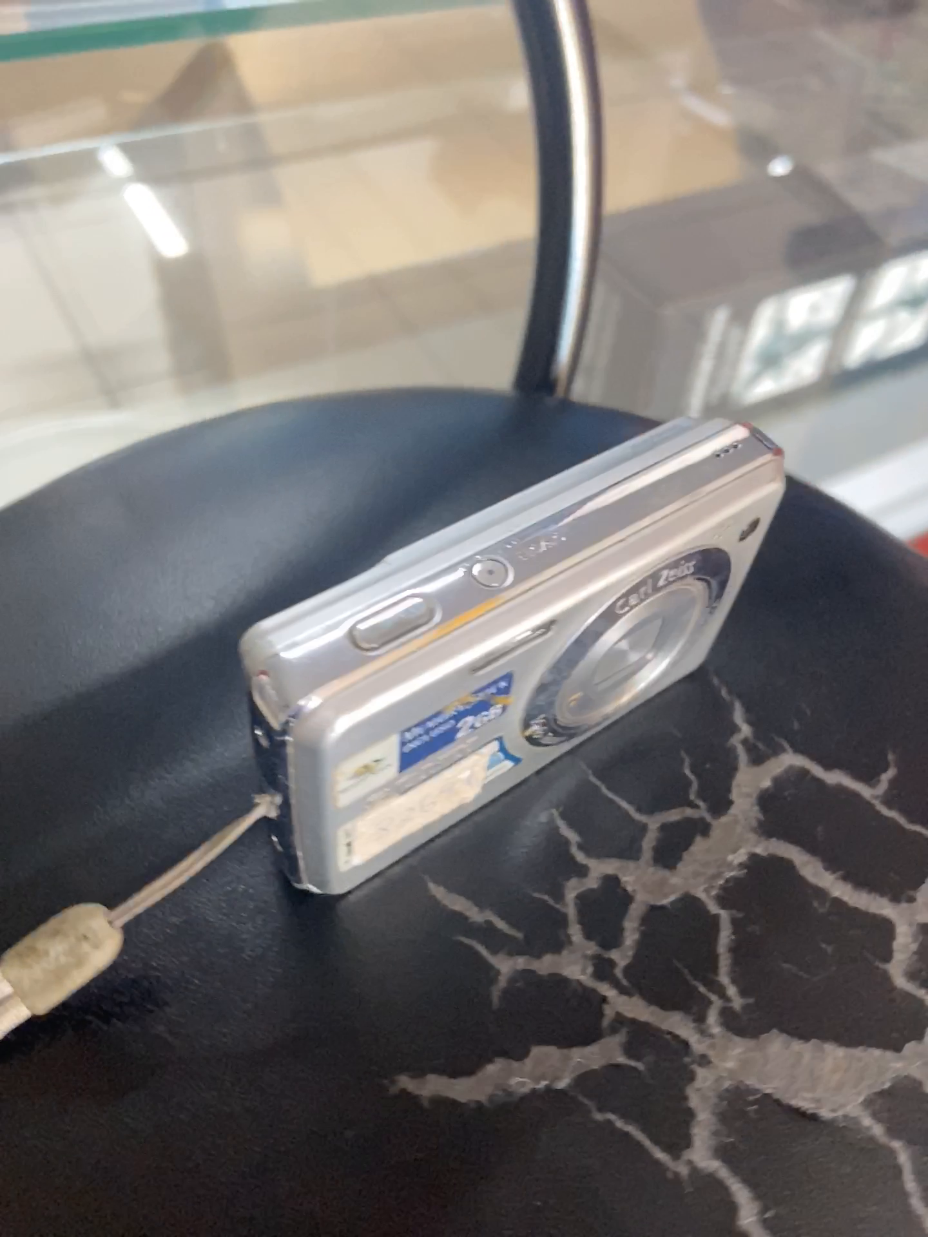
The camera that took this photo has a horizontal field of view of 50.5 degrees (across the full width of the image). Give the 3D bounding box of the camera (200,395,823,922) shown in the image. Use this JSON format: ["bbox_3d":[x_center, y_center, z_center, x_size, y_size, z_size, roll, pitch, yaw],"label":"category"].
[{"bbox_3d":[0.009,0.004,0.157,0.093,0.044,0.026,-27,58,-25],"label":"camera"}]
